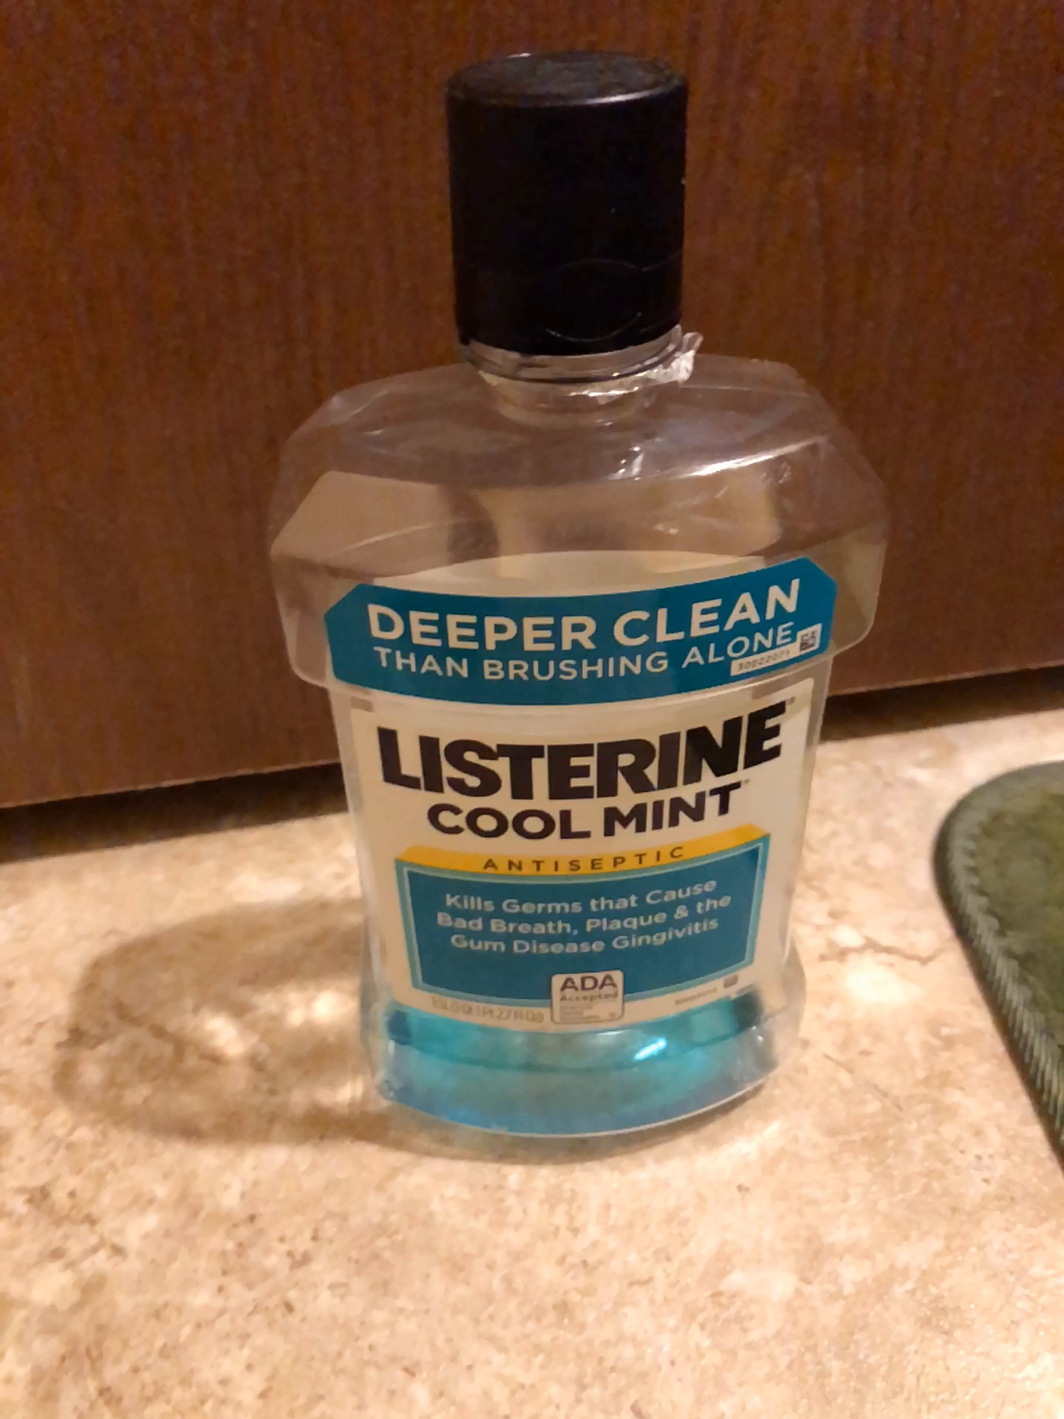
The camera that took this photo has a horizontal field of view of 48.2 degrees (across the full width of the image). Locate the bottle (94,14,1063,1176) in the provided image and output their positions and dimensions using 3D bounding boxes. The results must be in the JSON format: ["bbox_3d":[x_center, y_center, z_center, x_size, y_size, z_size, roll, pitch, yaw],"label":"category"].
[{"bbox_3d":[0.013,-0.009,0.248,0.130,0.219,0.090,-4,39,-2],"label":"bottle"}]
